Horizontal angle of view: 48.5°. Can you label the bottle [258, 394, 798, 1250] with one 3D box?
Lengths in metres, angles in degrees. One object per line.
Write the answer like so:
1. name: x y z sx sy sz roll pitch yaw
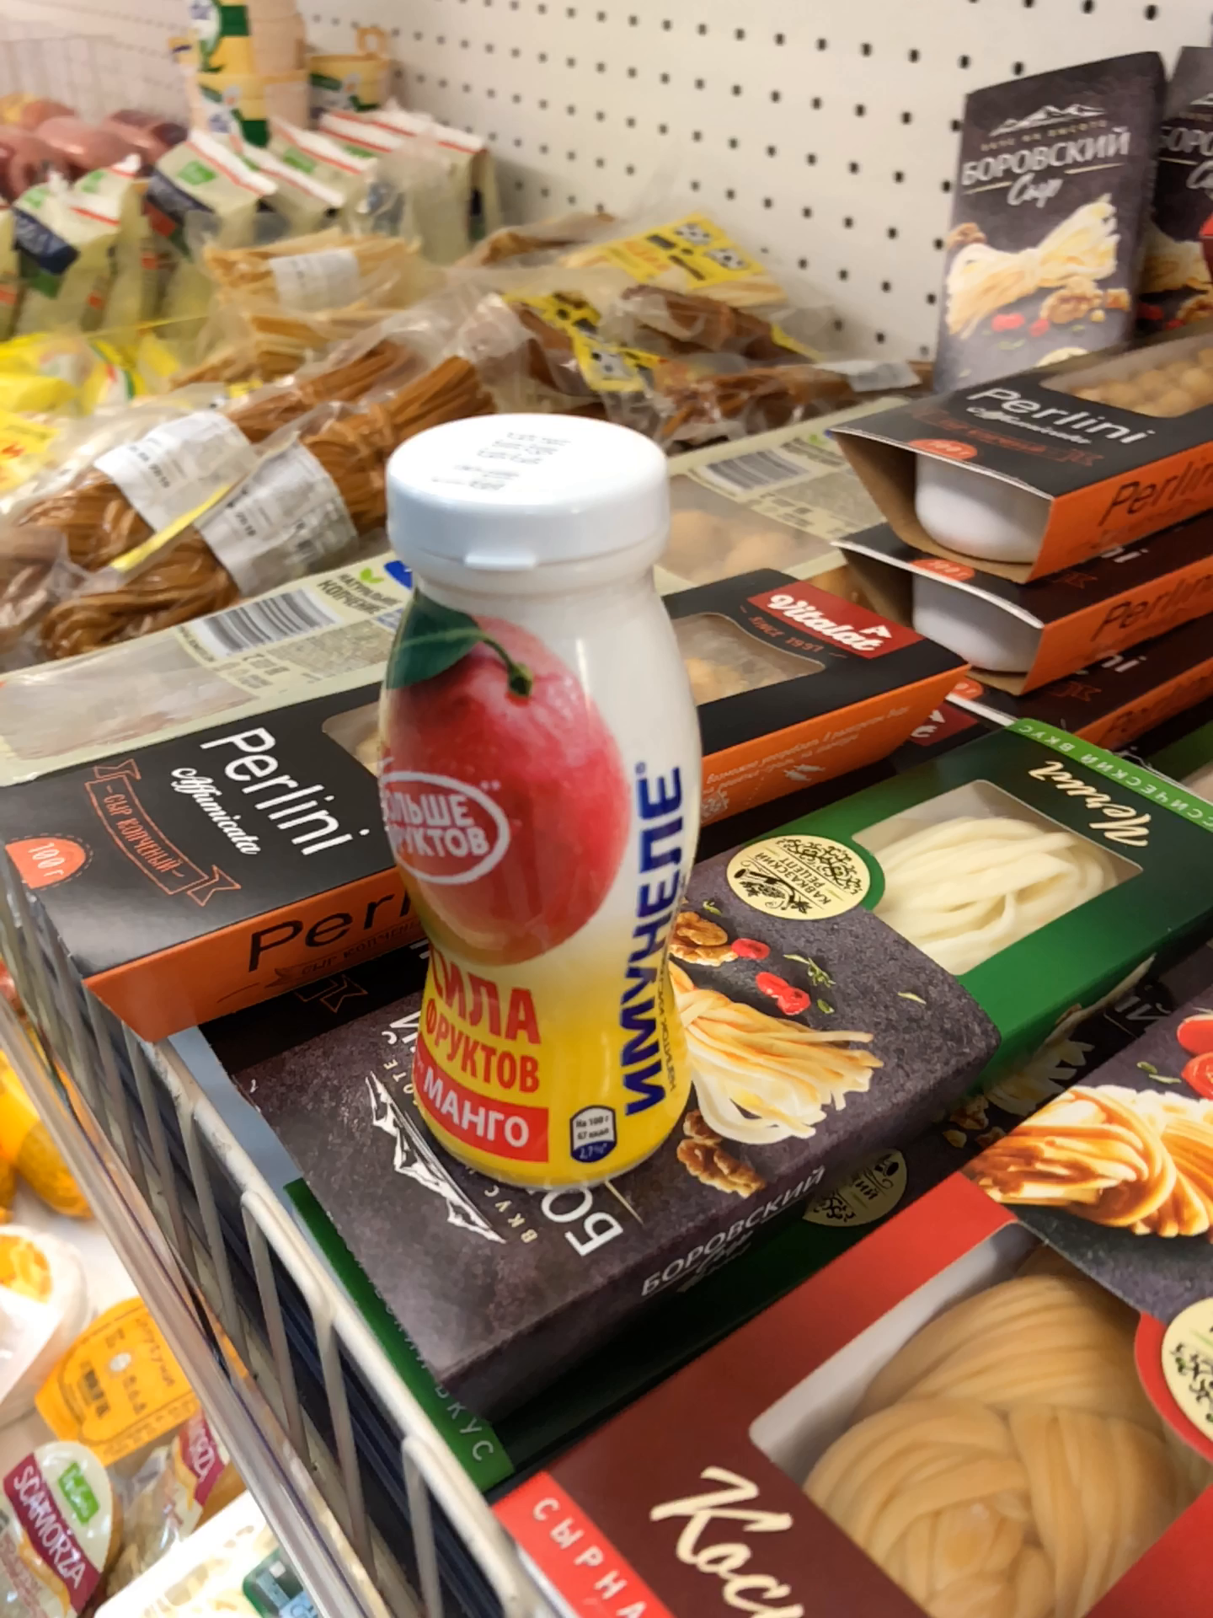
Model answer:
1. bottle: -0.009 0.002 0.186 0.046 0.099 0.044 0 34 0
